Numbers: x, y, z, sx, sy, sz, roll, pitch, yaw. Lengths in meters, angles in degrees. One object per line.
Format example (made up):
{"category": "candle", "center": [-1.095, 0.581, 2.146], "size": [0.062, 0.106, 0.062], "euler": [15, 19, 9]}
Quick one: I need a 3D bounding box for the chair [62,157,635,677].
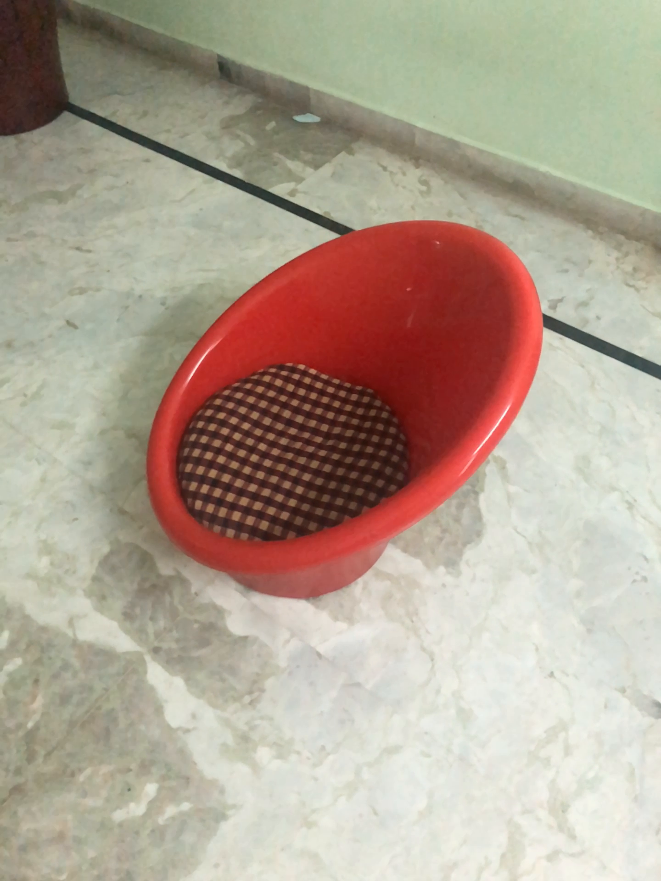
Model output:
{"category": "chair", "center": [-0.013, -0.061, 1.345], "size": [0.740, 0.507, 0.623], "euler": [-16, 54, -11]}
